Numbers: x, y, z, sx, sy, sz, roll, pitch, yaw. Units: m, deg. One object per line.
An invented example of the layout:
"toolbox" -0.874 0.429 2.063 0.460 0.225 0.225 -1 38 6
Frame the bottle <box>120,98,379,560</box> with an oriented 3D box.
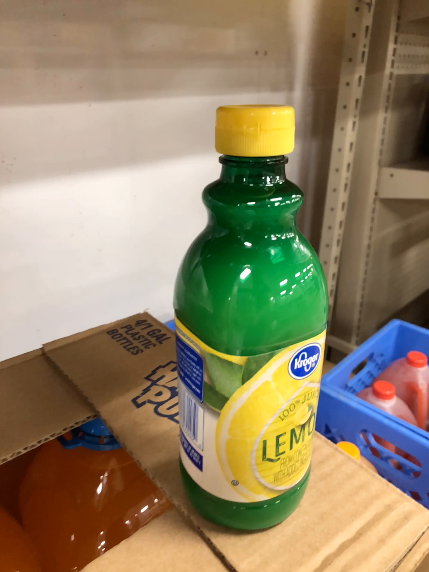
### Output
"bottle" 0.016 0.015 0.216 0.070 0.184 0.070 -1 23 0
